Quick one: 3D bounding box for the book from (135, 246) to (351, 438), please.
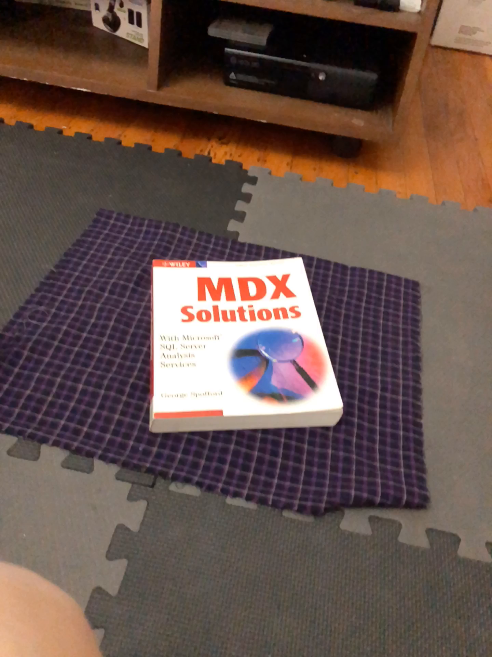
[{"bbox_3d":[-0.018,0.000,0.652,0.220,0.050,0.261,-1,46,-9],"label":"book"}]
